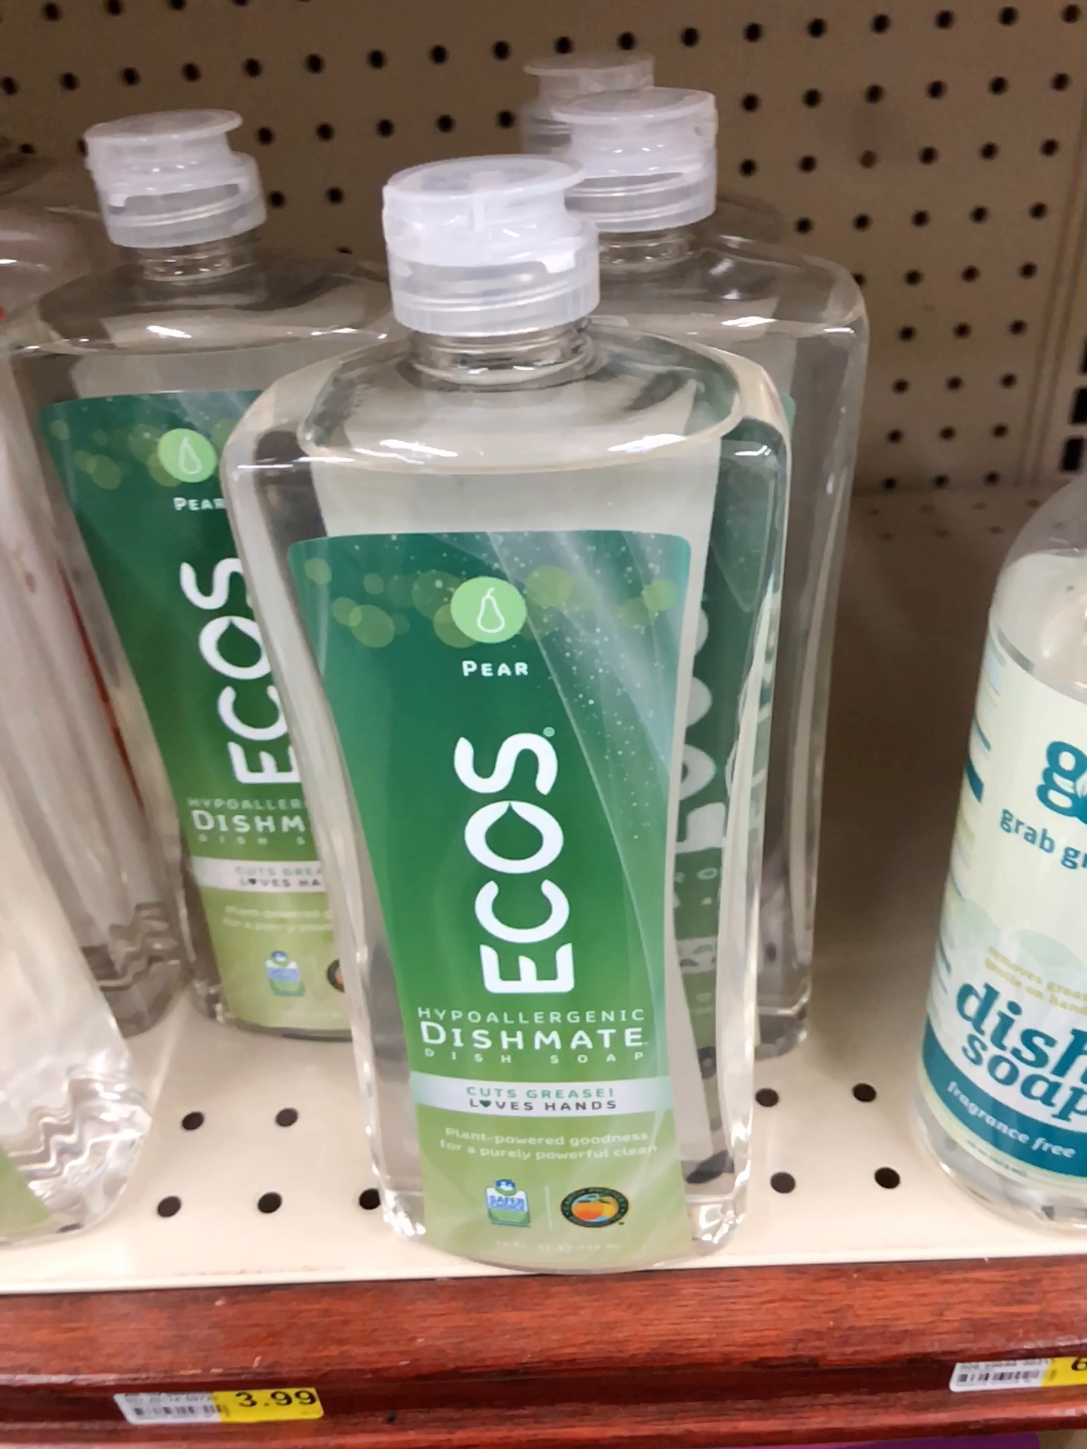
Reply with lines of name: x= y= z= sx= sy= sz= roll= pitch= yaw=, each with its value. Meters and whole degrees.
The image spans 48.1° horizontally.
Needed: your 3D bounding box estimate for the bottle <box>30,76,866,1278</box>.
bottle: x=-0.003 y=0.016 z=0.221 sx=0.092 sy=0.226 sz=0.050 roll=-1 pitch=37 yaw=5
